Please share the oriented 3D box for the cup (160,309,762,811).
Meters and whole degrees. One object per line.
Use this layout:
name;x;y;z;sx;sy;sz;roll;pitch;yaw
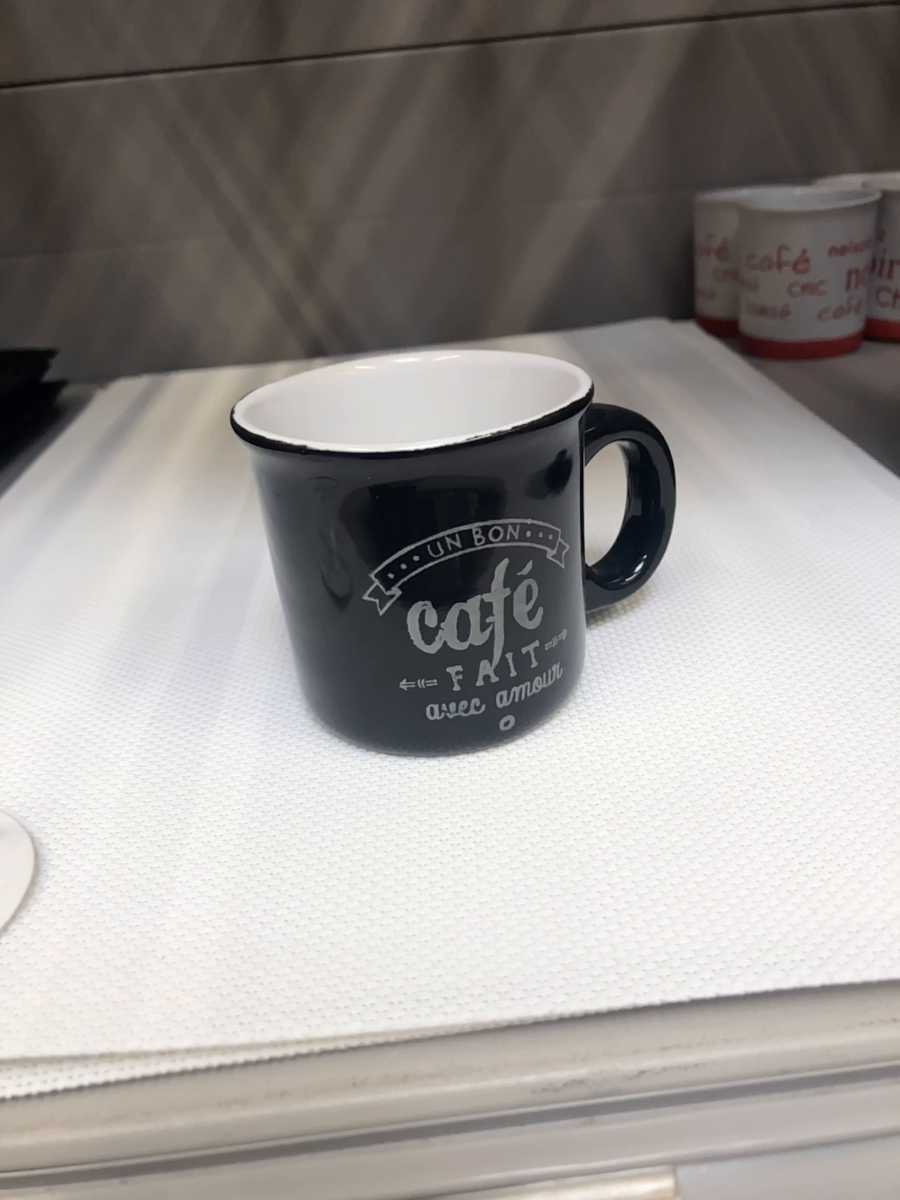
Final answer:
cup;0.001;-0.017;0.219;0.101;0.064;0.075;-16;29;-21
